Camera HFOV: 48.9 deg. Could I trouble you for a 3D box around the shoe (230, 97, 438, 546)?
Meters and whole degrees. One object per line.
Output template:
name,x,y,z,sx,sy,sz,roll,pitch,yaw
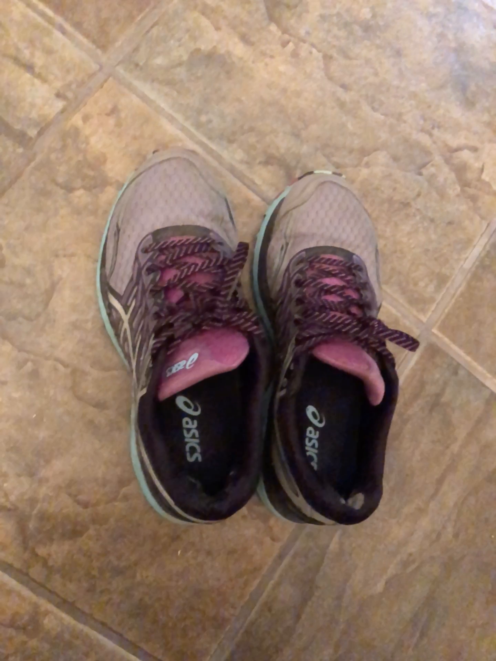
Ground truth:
shoe,0.058,-0.003,0.408,0.110,0.120,0.280,3,85,-13

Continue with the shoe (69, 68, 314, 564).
shoe,-0.045,-0.013,0.376,0.110,0.120,0.280,-7,87,-14
